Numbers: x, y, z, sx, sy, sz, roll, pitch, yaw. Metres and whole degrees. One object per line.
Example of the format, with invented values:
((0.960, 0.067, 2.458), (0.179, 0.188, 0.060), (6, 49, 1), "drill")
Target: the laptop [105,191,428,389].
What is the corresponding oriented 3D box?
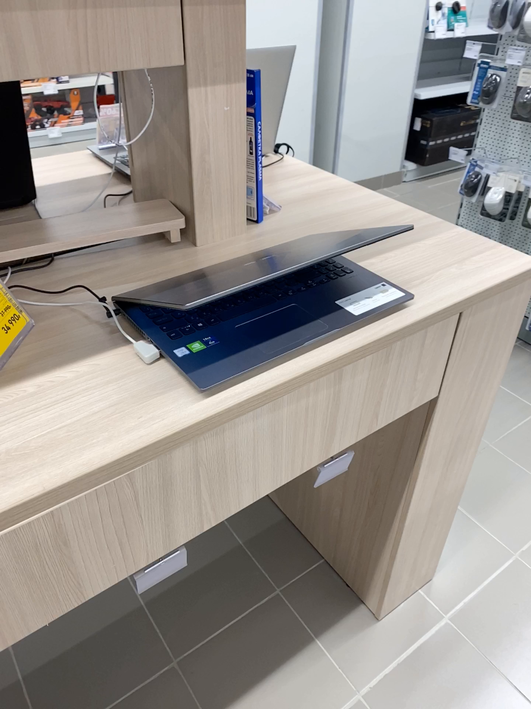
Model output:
((0.005, -0.113, 0.734), (0.353, 0.088, 0.237), (-23, 42, -31), "laptop")
